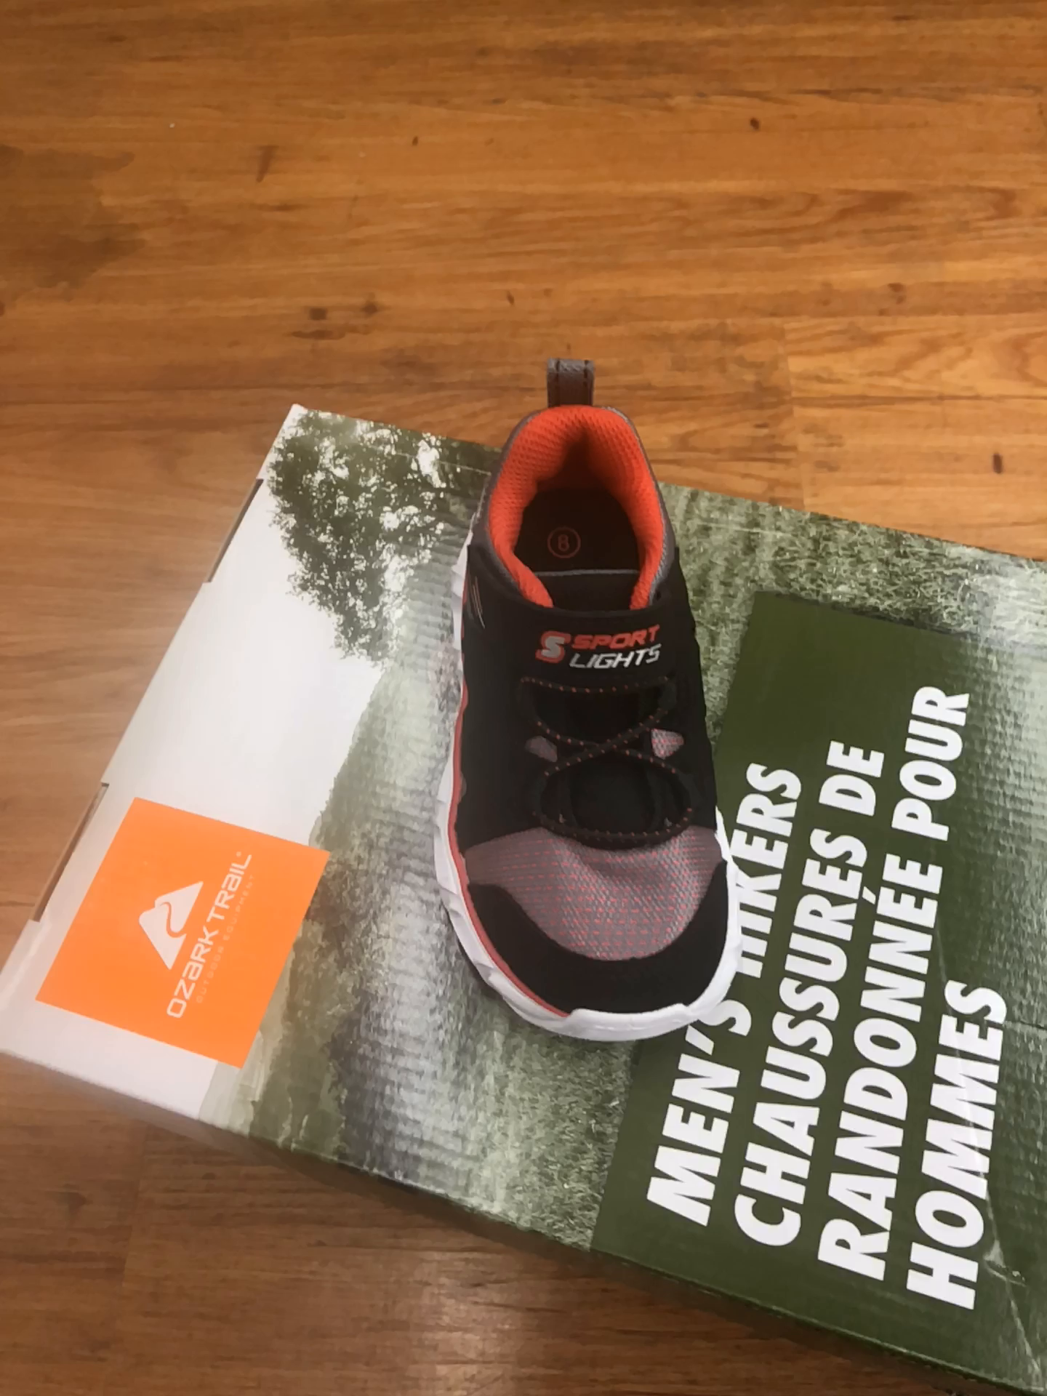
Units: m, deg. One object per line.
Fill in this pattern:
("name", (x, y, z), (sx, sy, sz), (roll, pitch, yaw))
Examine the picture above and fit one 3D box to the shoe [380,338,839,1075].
("shoe", (0.018, 0.002, 0.310), (0.090, 0.090, 0.170), (-2, 61, 2))
